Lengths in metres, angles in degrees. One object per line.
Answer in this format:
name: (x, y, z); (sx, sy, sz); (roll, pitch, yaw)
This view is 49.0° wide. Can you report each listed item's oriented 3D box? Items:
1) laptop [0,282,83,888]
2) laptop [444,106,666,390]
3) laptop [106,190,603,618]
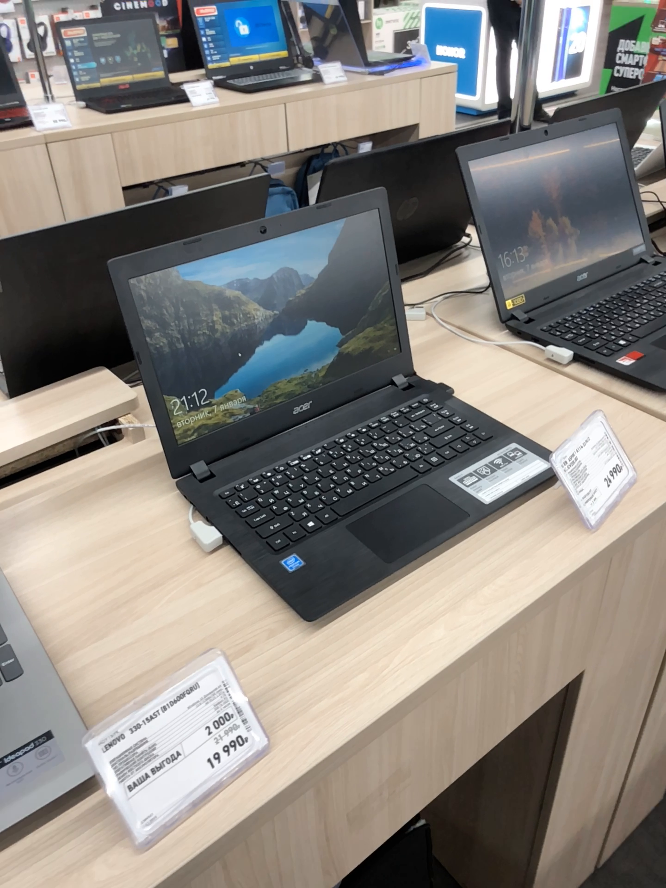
laptop: (-0.410, 0.114, 0.457); (0.363, 0.236, 0.338); (-24, 40, -28)
laptop: (0.434, -0.306, 1.031); (0.380, 0.216, 0.377); (-26, 41, -30)
laptop: (0.019, -0.076, 0.734); (0.343, 0.223, 0.302); (-25, 40, -29)
